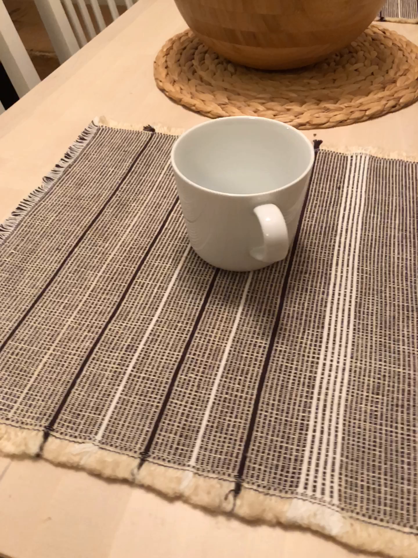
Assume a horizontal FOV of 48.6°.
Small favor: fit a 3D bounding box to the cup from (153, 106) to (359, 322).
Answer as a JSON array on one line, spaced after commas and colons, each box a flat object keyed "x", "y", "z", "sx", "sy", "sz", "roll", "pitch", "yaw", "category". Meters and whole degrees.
[{"x": 0.024, "y": -0.054, "z": 0.336, "sx": 0.100, "sy": 0.070, "sz": 0.141, "roll": -11, "pitch": 47, "yaw": -8, "category": "cup"}]
